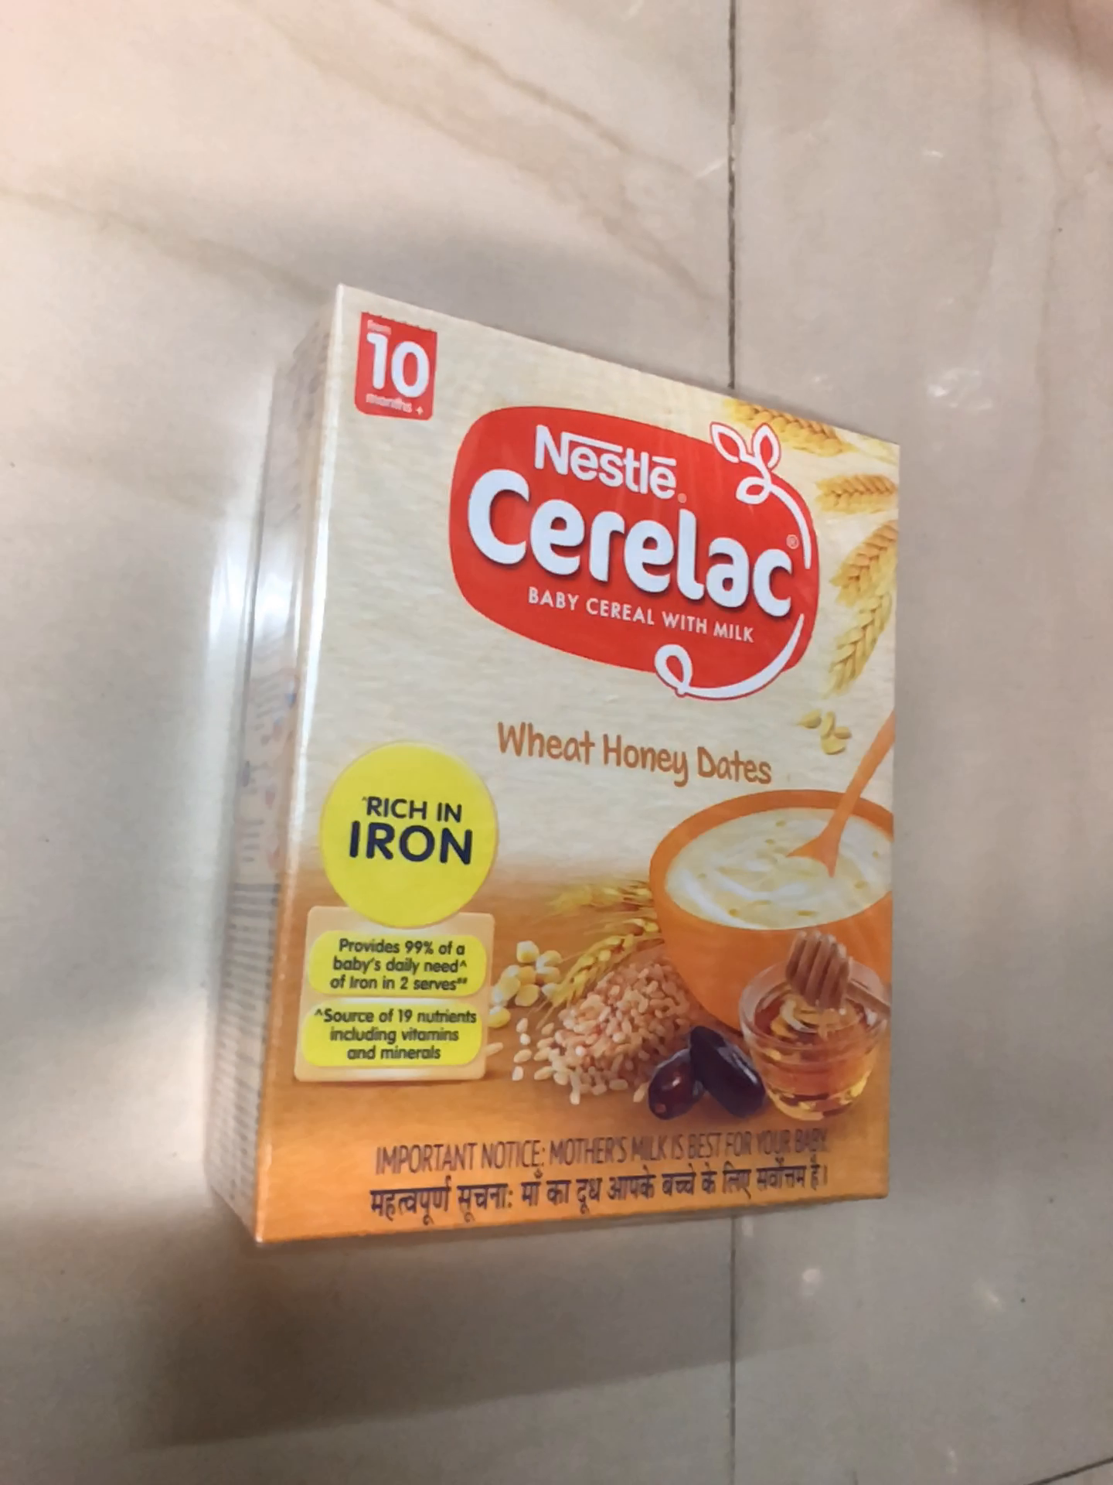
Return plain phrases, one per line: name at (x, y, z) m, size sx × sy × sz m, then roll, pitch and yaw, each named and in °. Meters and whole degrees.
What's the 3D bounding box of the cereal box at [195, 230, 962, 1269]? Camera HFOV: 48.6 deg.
cereal box at (0.012, 0.007, 0.286) m, size 0.160 × 0.060 × 0.190 m, roll 7°, pitch 80°, yaw -27°
